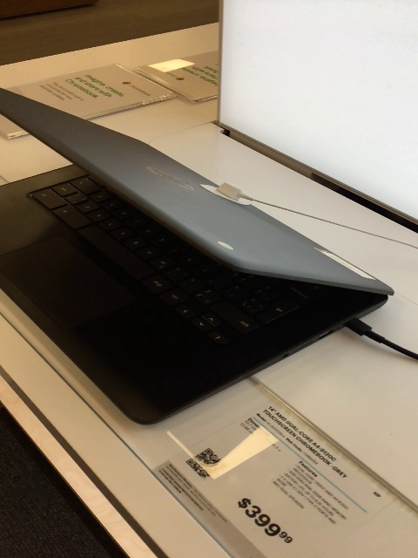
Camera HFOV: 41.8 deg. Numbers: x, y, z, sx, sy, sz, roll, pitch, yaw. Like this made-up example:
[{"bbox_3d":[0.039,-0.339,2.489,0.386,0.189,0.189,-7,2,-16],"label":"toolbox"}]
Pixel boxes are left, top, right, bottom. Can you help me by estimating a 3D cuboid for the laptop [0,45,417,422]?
[{"bbox_3d":[-0.062,-0.063,0.435,0.219,0.122,0.318,-31,53,-28],"label":"laptop"}]
